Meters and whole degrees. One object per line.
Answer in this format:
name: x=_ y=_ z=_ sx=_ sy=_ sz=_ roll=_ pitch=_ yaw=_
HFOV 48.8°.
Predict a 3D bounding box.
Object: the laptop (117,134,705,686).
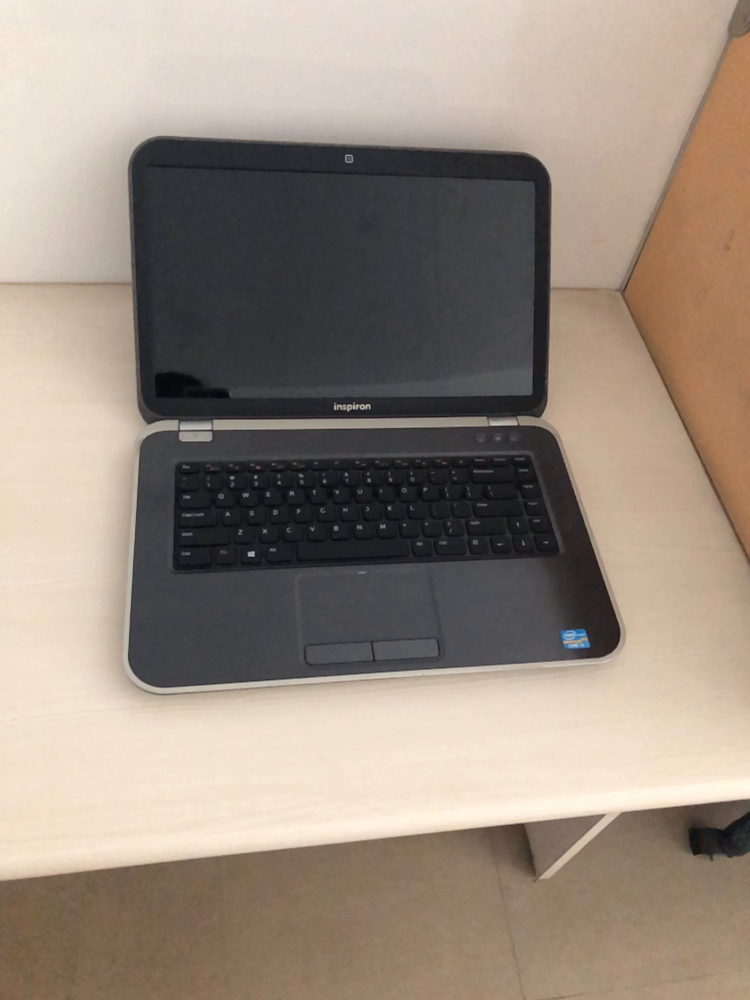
laptop: x=-0.005 y=-0.092 z=0.644 sx=0.339 sy=0.152 sz=0.410 roll=-2 pitch=54 yaw=-10
